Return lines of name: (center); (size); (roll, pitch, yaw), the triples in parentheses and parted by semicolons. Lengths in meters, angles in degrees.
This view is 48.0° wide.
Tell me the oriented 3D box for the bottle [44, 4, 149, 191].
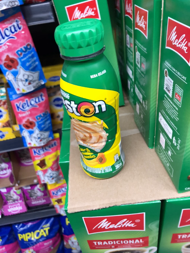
bottle: (0.012, -0.022, 0.226); (0.060, 0.179, 0.060); (-6, 38, 4)
